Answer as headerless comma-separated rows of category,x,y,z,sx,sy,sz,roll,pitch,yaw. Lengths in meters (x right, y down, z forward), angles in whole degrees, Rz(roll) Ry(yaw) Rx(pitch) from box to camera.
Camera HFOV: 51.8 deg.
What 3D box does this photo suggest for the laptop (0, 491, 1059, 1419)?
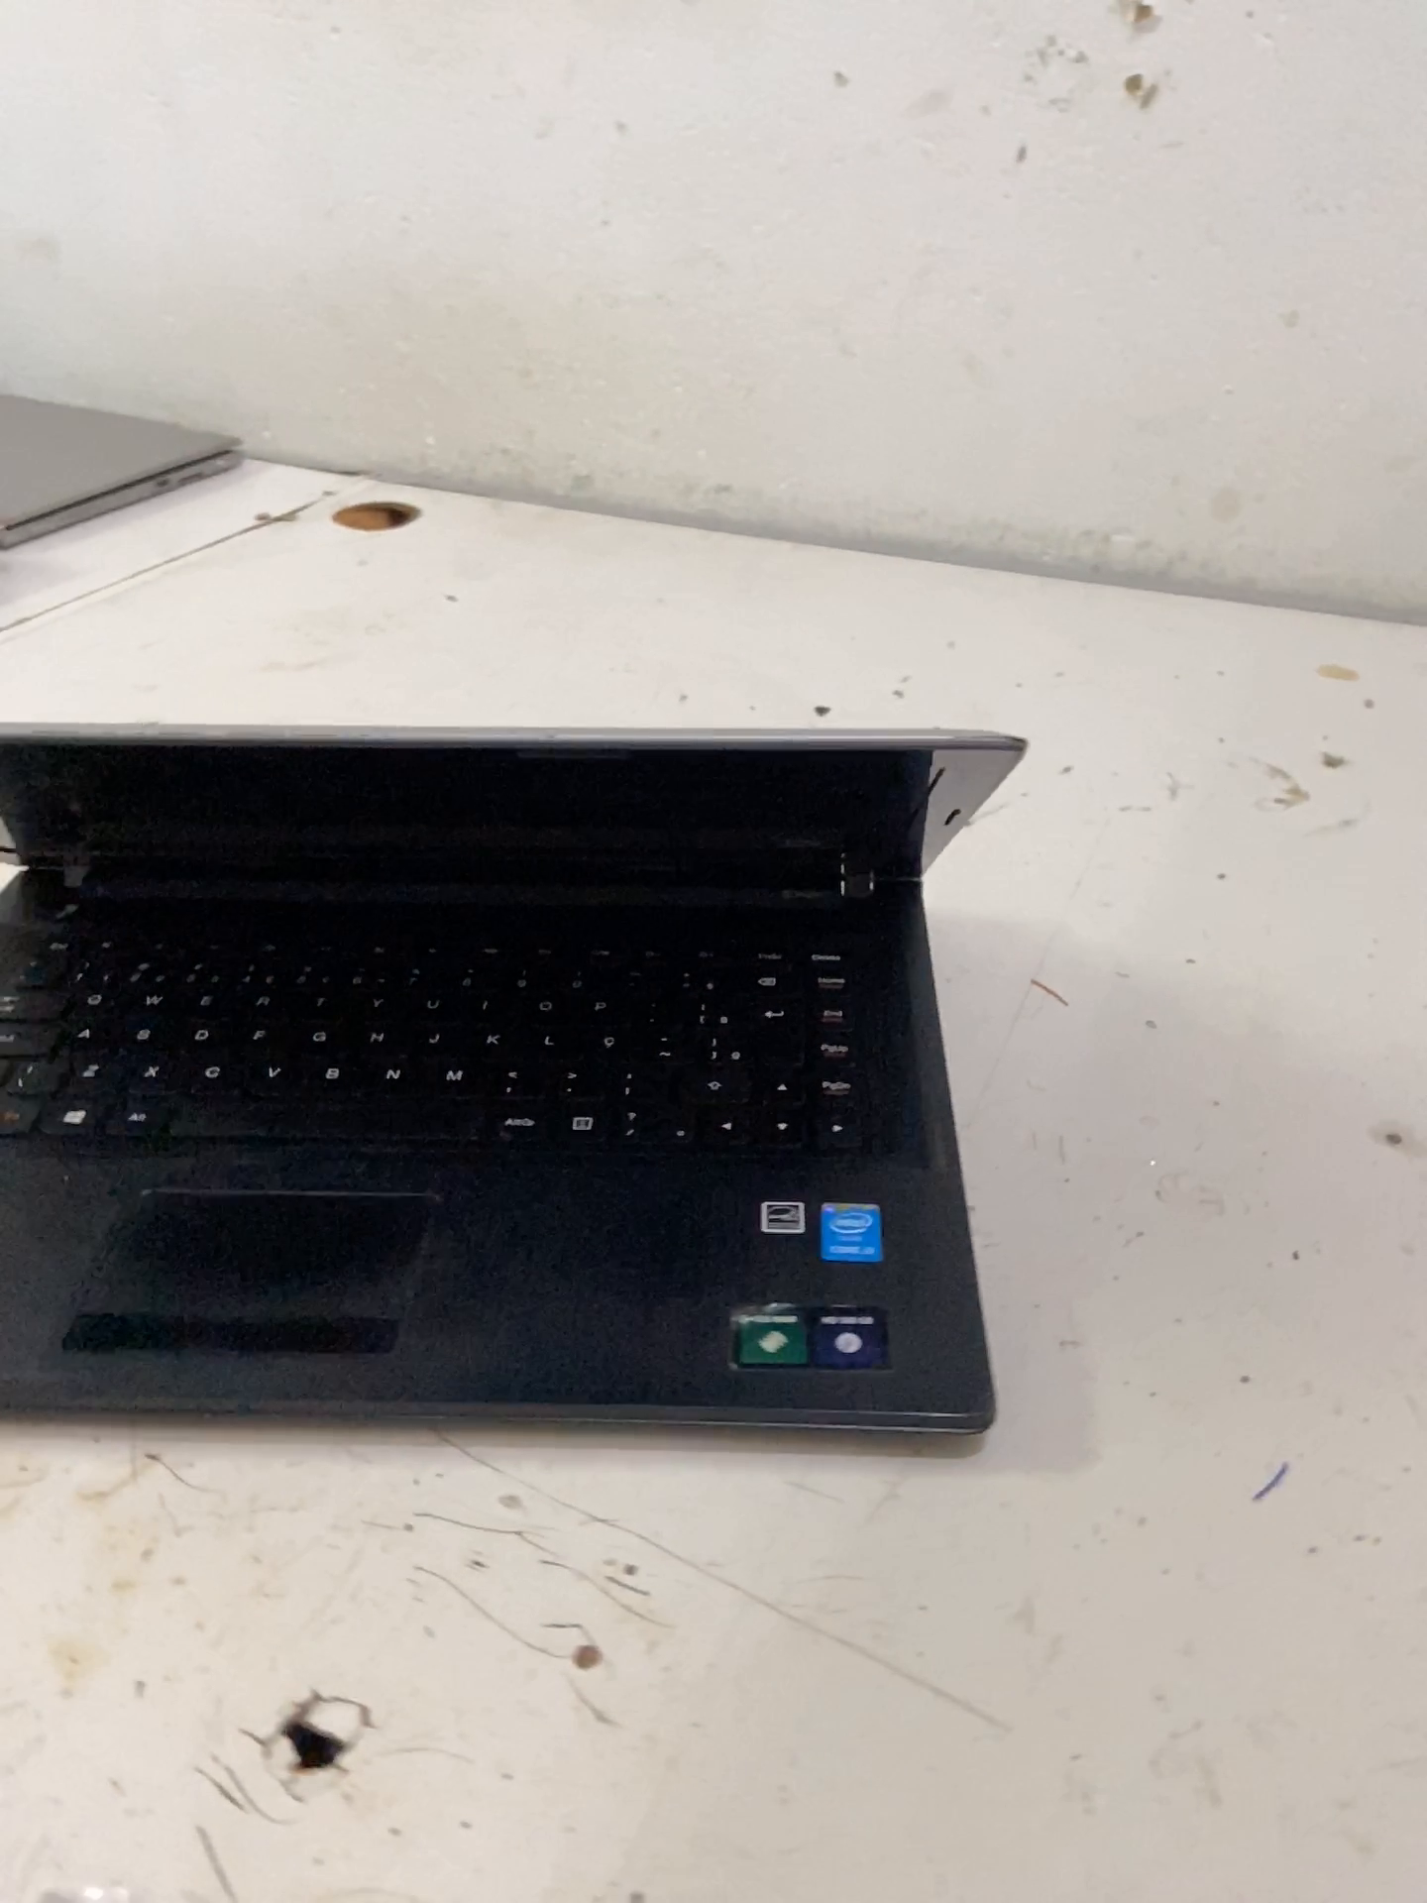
laptop,-0.102,-0.019,0.424,0.344,0.148,0.246,0,34,3
